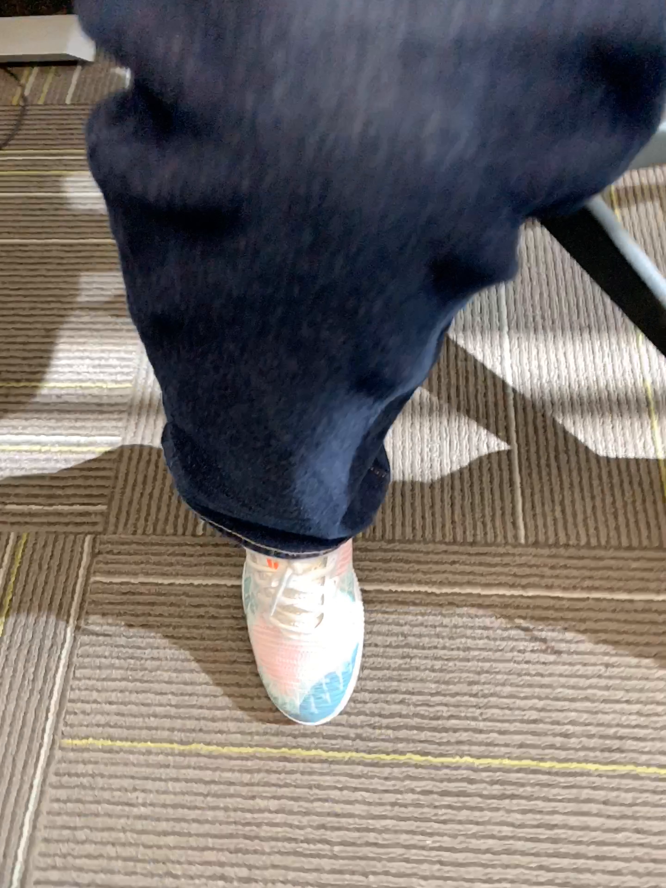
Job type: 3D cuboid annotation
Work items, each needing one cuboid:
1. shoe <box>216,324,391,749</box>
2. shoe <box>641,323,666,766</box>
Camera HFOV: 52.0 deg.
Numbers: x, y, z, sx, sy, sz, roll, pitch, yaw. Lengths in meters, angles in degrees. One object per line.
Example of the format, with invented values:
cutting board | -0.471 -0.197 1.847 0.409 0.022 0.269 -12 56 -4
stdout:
shoe | -0.026 0.070 0.548 0.106 0.109 0.303 -5 71 1
shoe | 0.379 0.075 0.558 0.113 0.109 0.310 -12 75 -2
